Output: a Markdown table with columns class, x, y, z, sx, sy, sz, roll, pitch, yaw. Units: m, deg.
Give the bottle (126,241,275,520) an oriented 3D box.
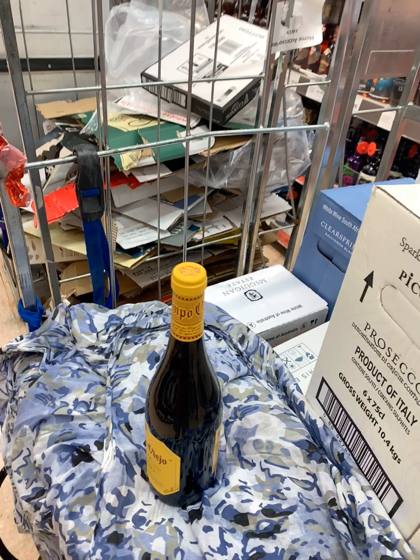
| class | x | y | z | sx | sy | sz | roll | pitch | yaw |
| --- | --- | --- | --- | --- | --- | --- | --- | --- | --- |
| bottle | -0.023 | 0.107 | 0.419 | 0.090 | 0.270 | 0.091 | 4 | 36 | -3 |
